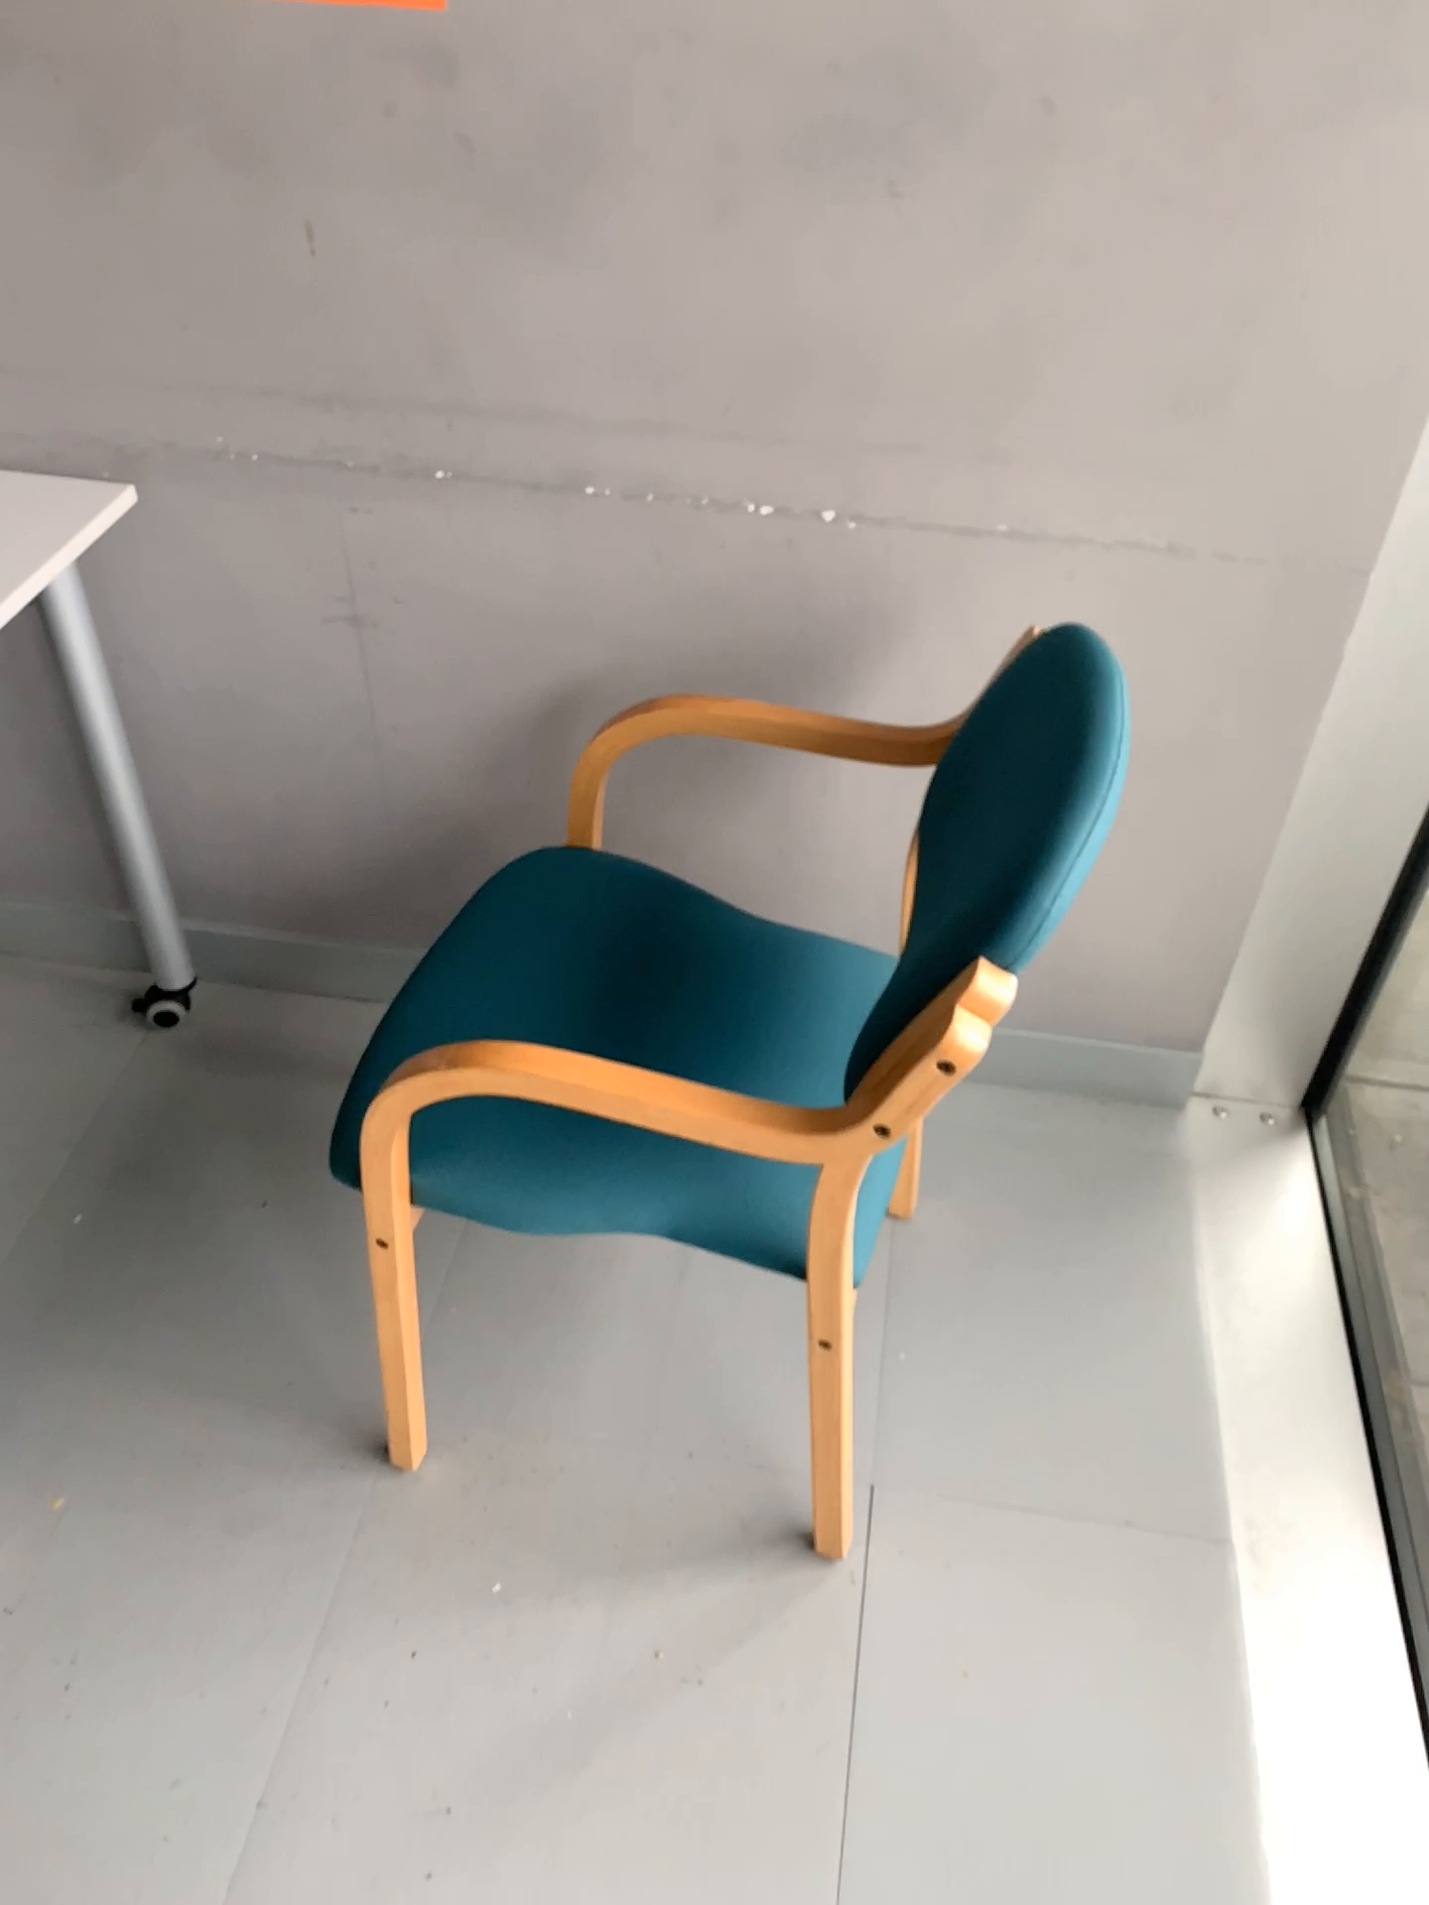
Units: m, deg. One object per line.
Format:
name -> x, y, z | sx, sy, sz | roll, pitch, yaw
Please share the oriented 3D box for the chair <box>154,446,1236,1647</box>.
chair -> 0.033, 0.061, 1.337 | 0.640, 0.723, 0.687 | 9, 42, 8
